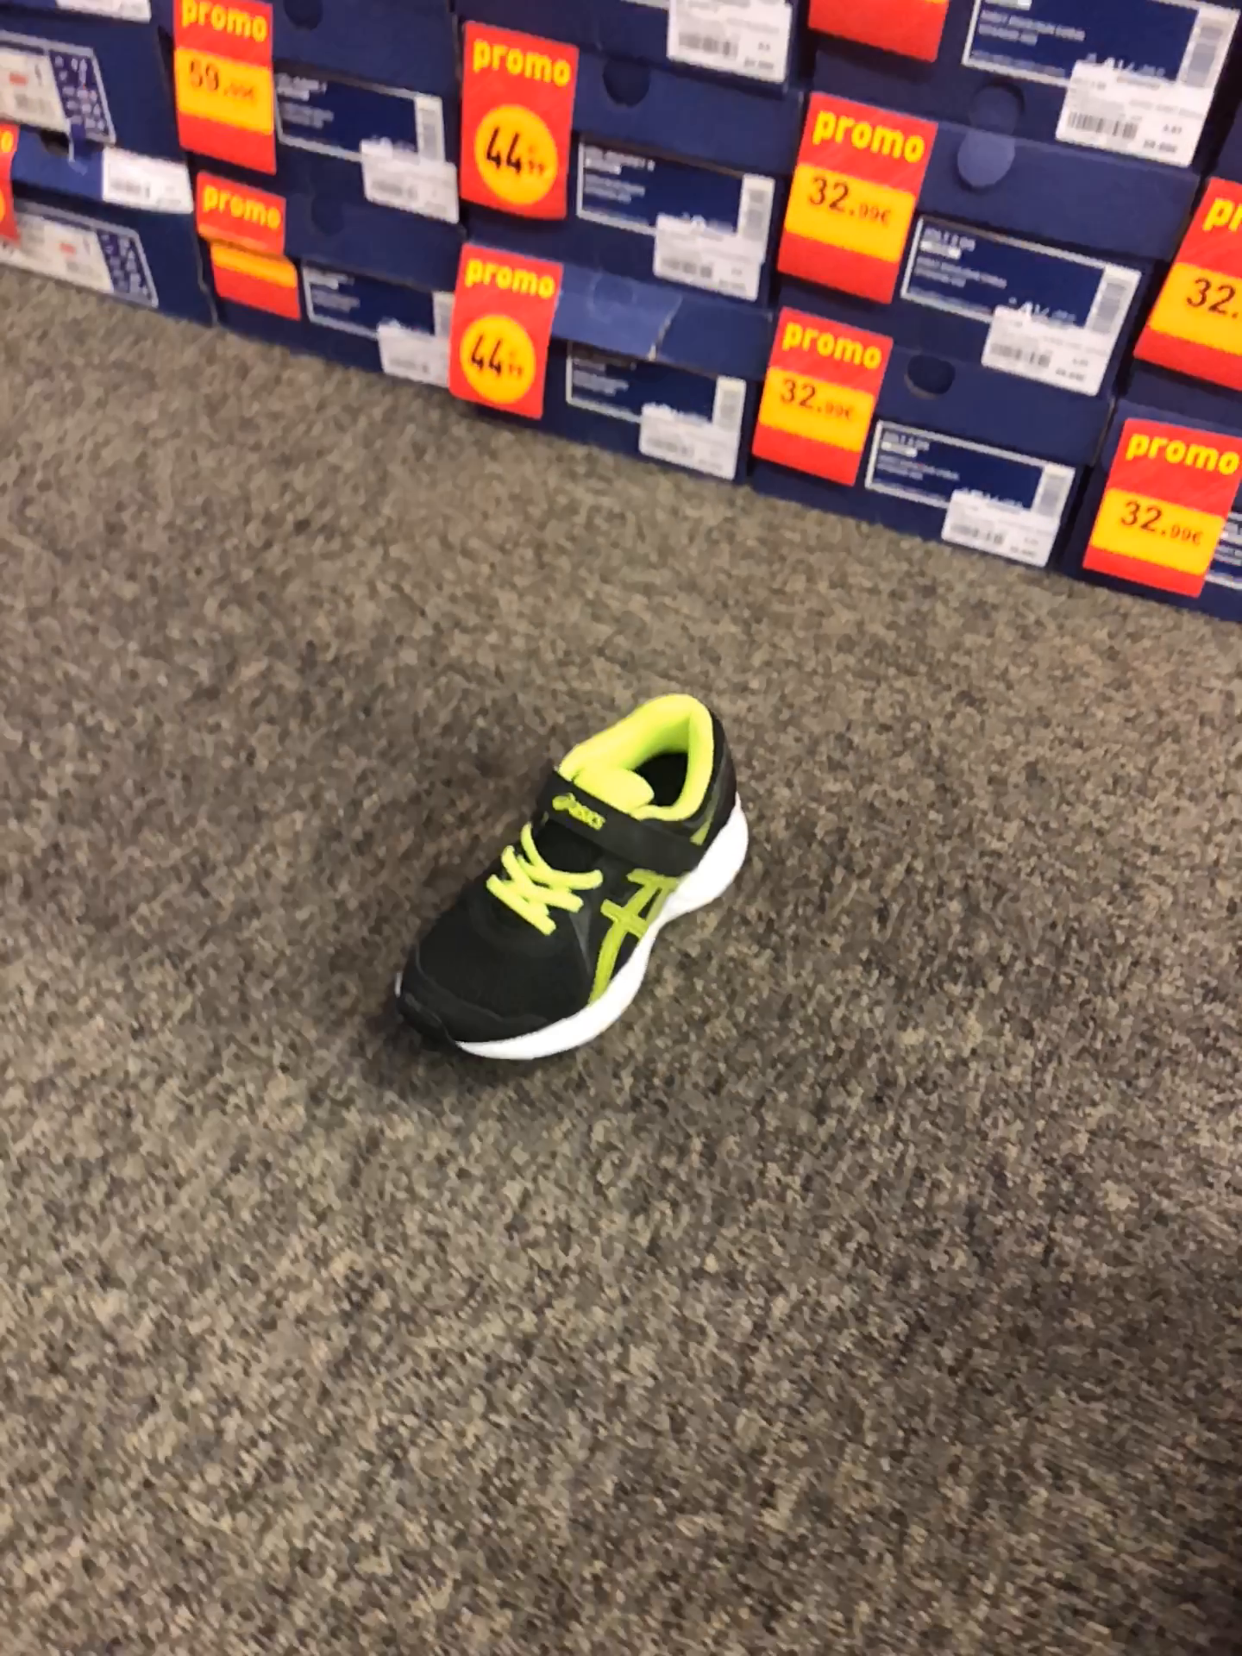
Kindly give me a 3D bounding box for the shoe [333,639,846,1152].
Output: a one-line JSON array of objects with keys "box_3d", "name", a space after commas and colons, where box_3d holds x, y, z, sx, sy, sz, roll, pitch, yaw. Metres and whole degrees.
[{"box_3d": [-0.008, 0.020, 0.568, 0.090, 0.080, 0.201, 34, 54, 24], "name": "shoe"}]
